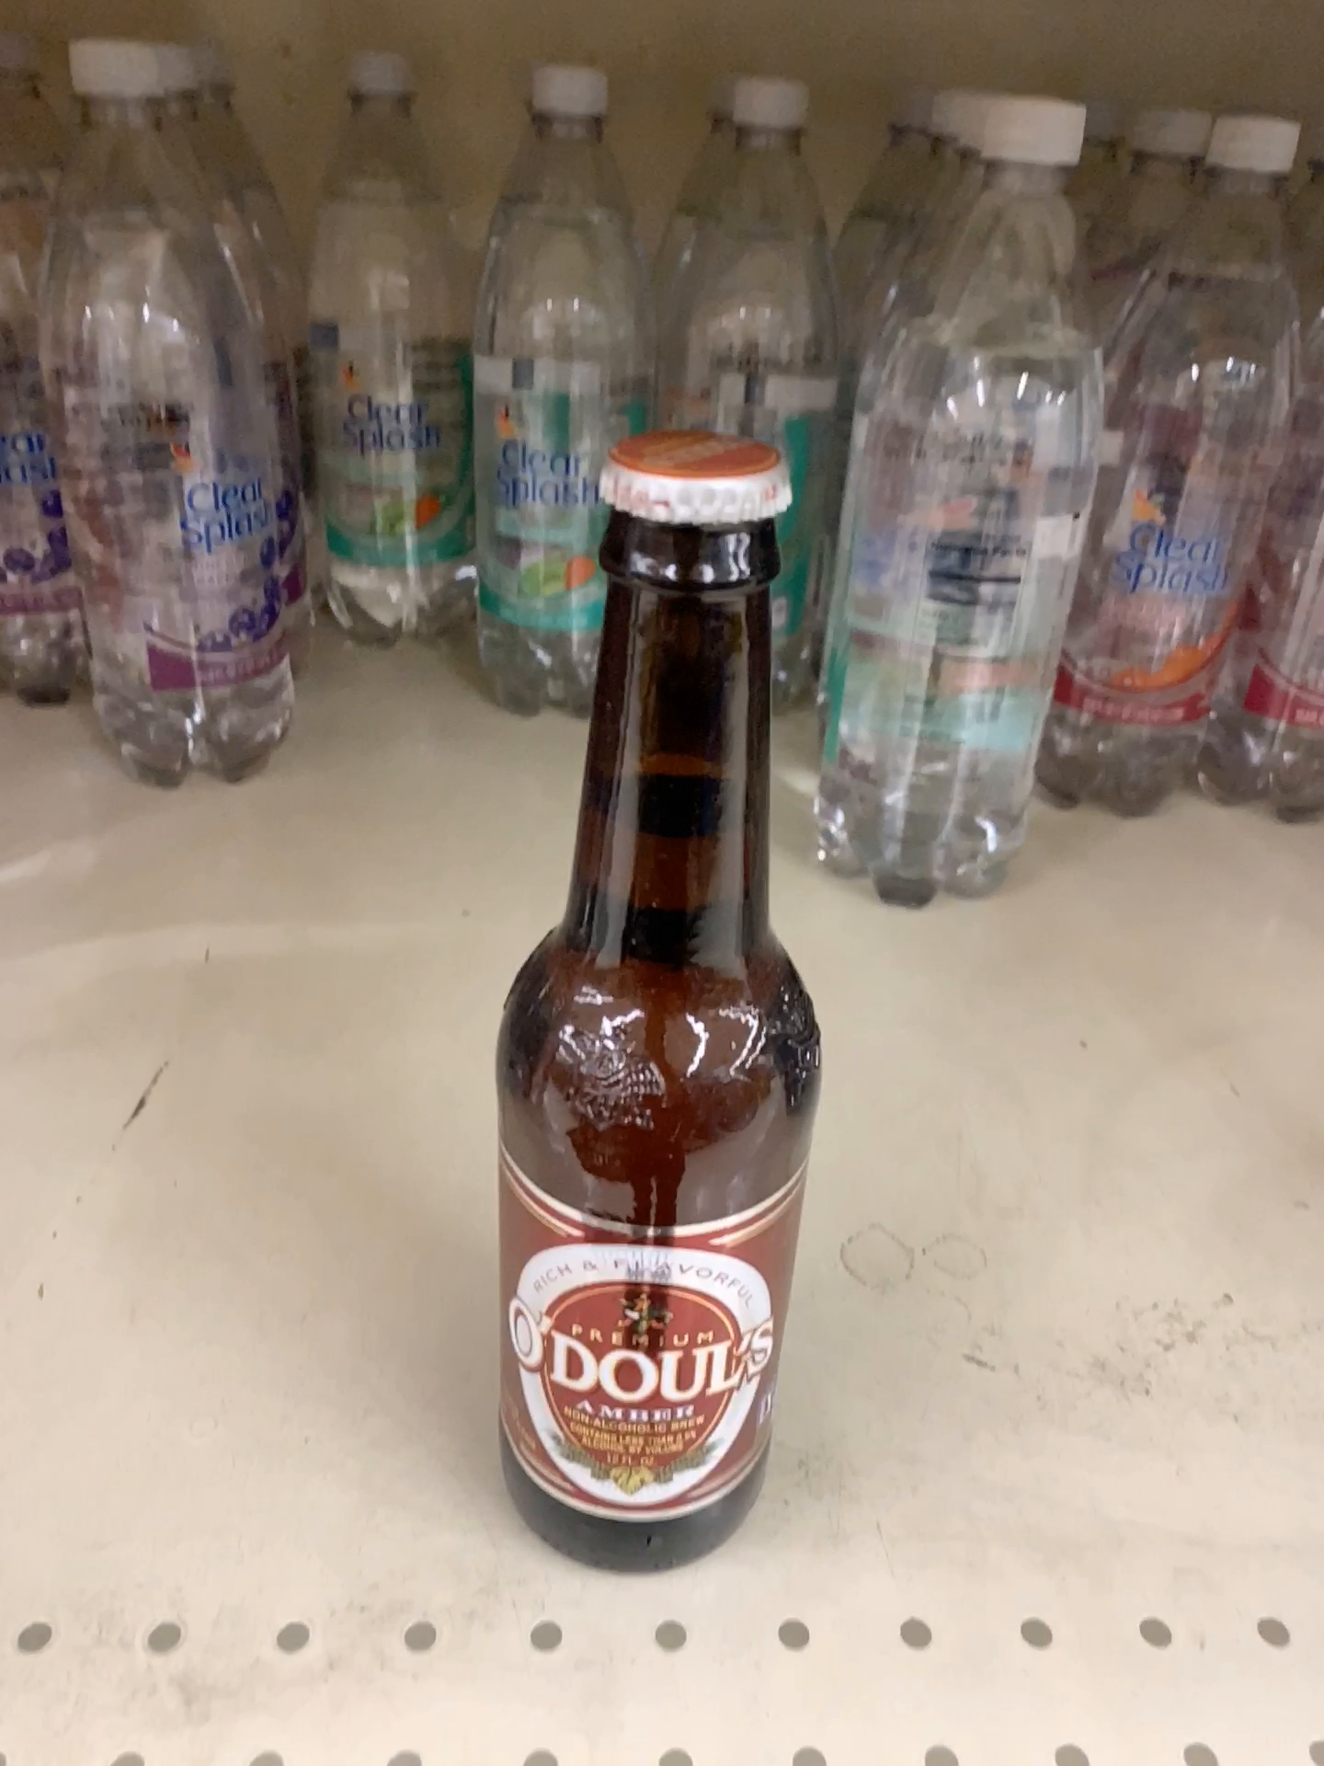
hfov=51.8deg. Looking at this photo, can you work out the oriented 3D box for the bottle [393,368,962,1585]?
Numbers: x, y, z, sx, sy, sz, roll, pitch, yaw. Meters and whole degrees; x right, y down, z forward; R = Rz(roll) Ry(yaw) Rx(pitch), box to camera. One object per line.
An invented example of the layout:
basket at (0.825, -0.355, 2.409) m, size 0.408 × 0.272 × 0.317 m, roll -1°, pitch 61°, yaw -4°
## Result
bottle at (0.000, 0.029, 0.254) m, size 0.070 × 0.219 × 0.070 m, roll 2°, pitch 32°, yaw -2°
